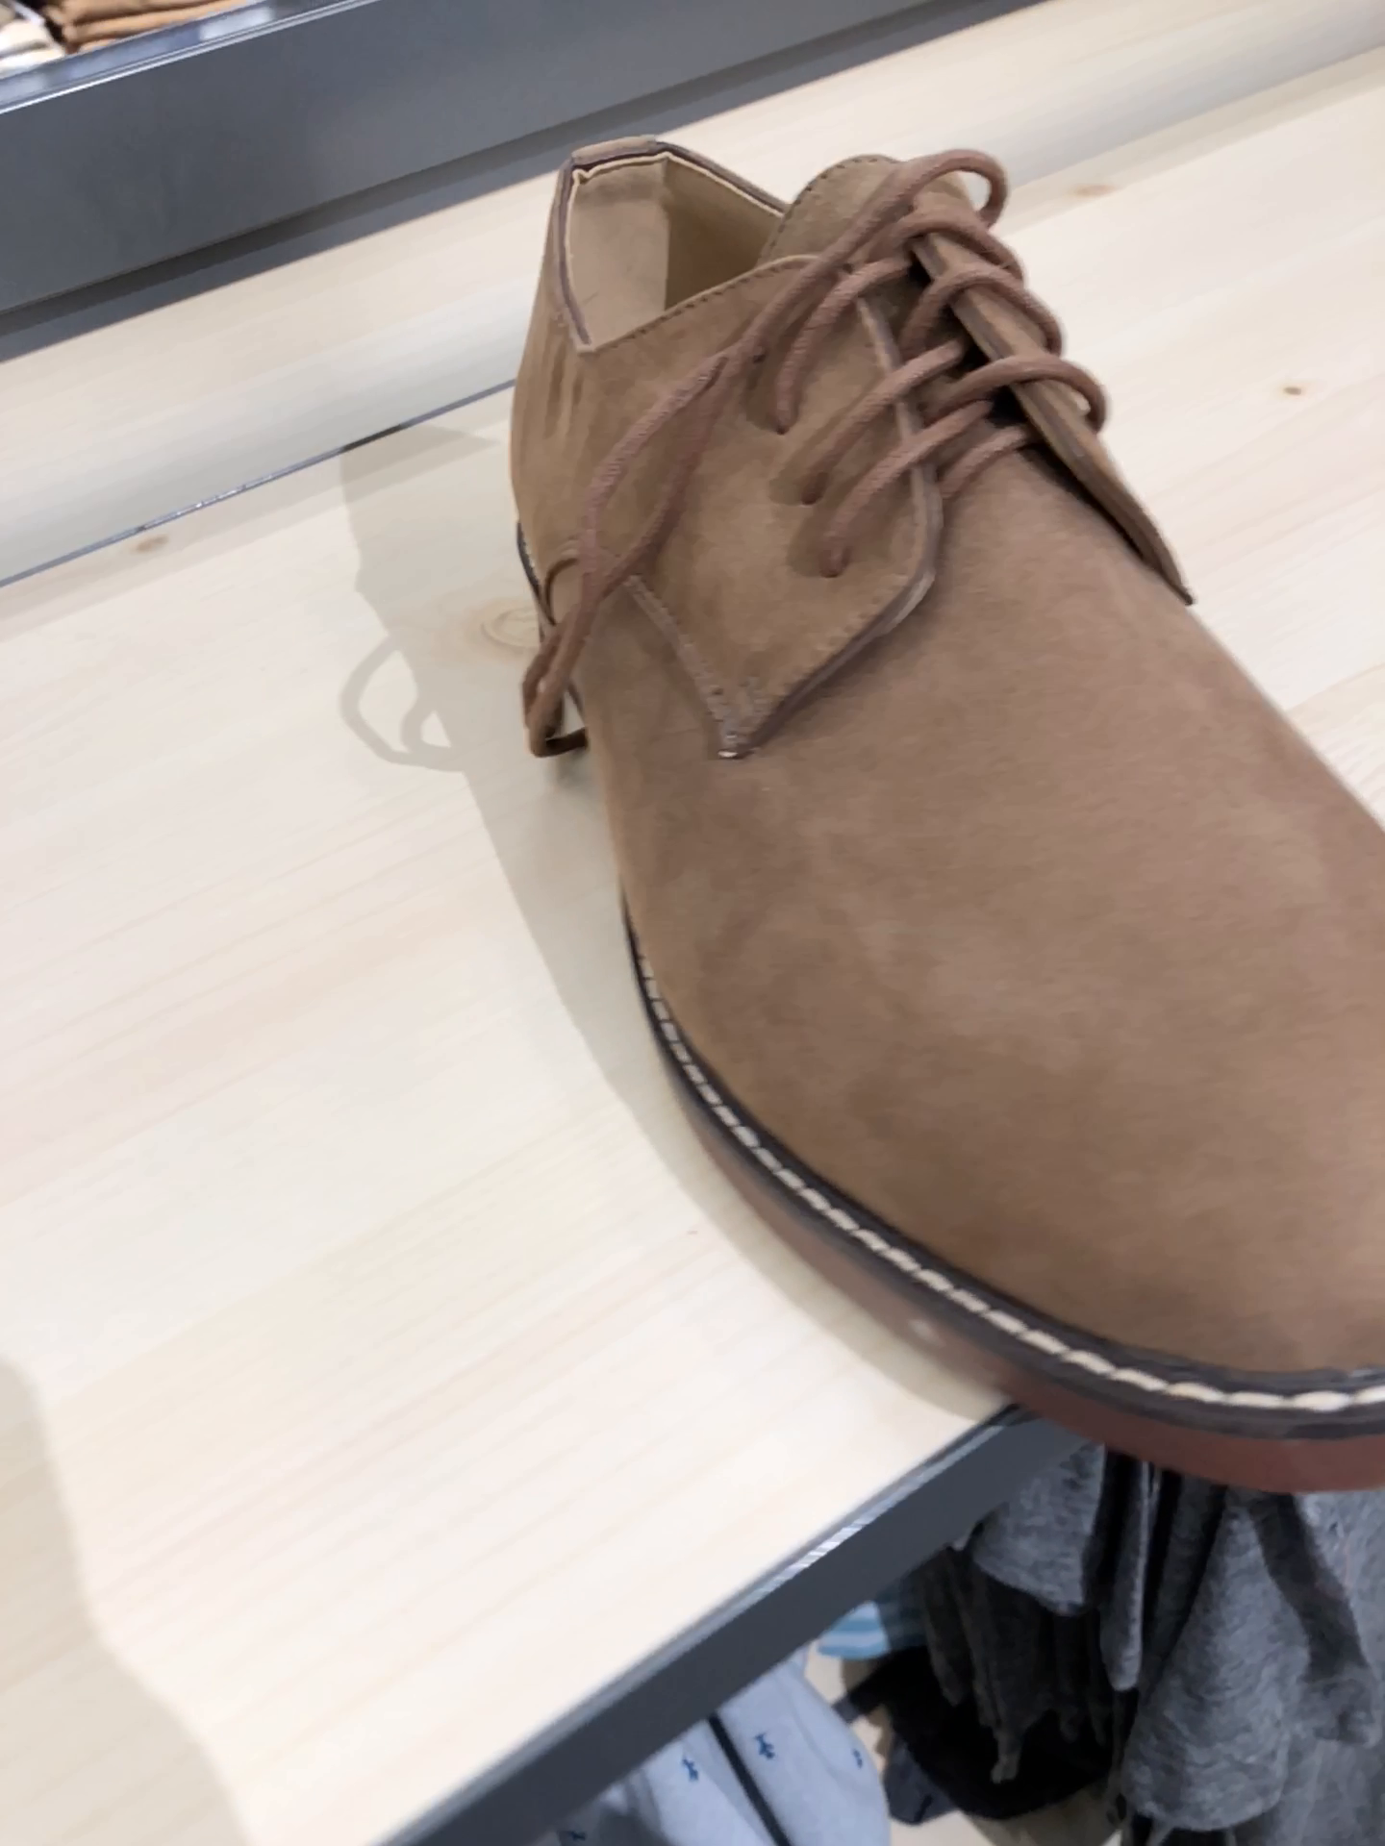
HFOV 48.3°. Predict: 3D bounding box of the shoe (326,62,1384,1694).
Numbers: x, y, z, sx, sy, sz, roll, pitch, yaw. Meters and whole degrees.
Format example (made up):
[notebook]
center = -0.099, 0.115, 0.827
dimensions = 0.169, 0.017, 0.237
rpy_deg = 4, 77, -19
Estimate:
[shoe]
center = 0.025, -0.052, 0.278
dimensions = 0.120, 0.110, 0.301
rpy_deg = -18, 41, -6
